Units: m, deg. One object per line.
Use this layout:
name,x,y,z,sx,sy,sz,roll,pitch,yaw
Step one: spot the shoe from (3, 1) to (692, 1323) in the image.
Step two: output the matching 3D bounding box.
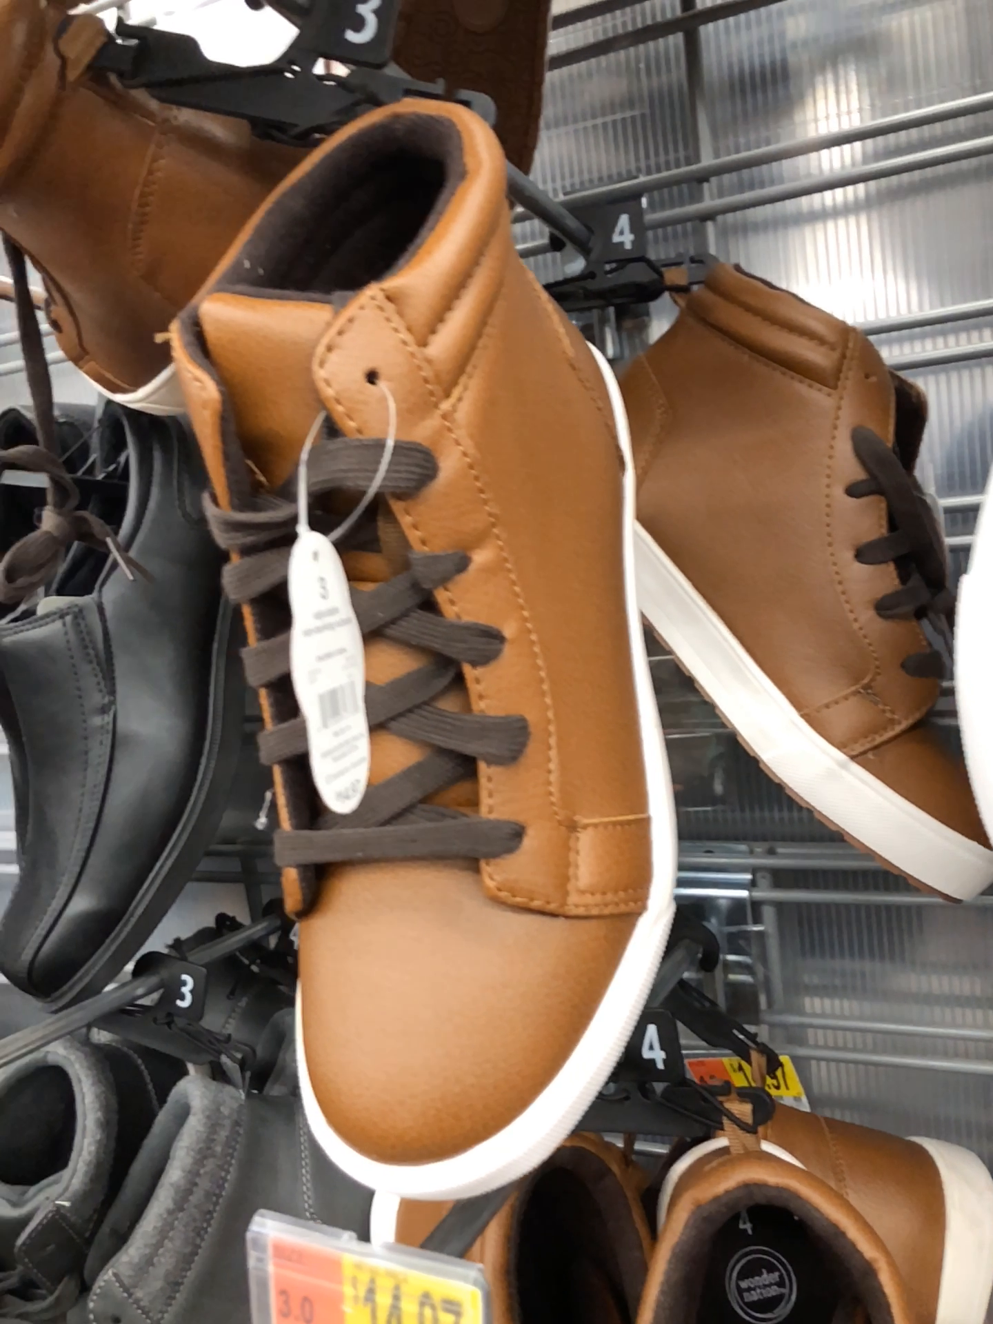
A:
shoe,-0.019,0.003,0.246,0.096,0.227,0.110,-5,-14,20
